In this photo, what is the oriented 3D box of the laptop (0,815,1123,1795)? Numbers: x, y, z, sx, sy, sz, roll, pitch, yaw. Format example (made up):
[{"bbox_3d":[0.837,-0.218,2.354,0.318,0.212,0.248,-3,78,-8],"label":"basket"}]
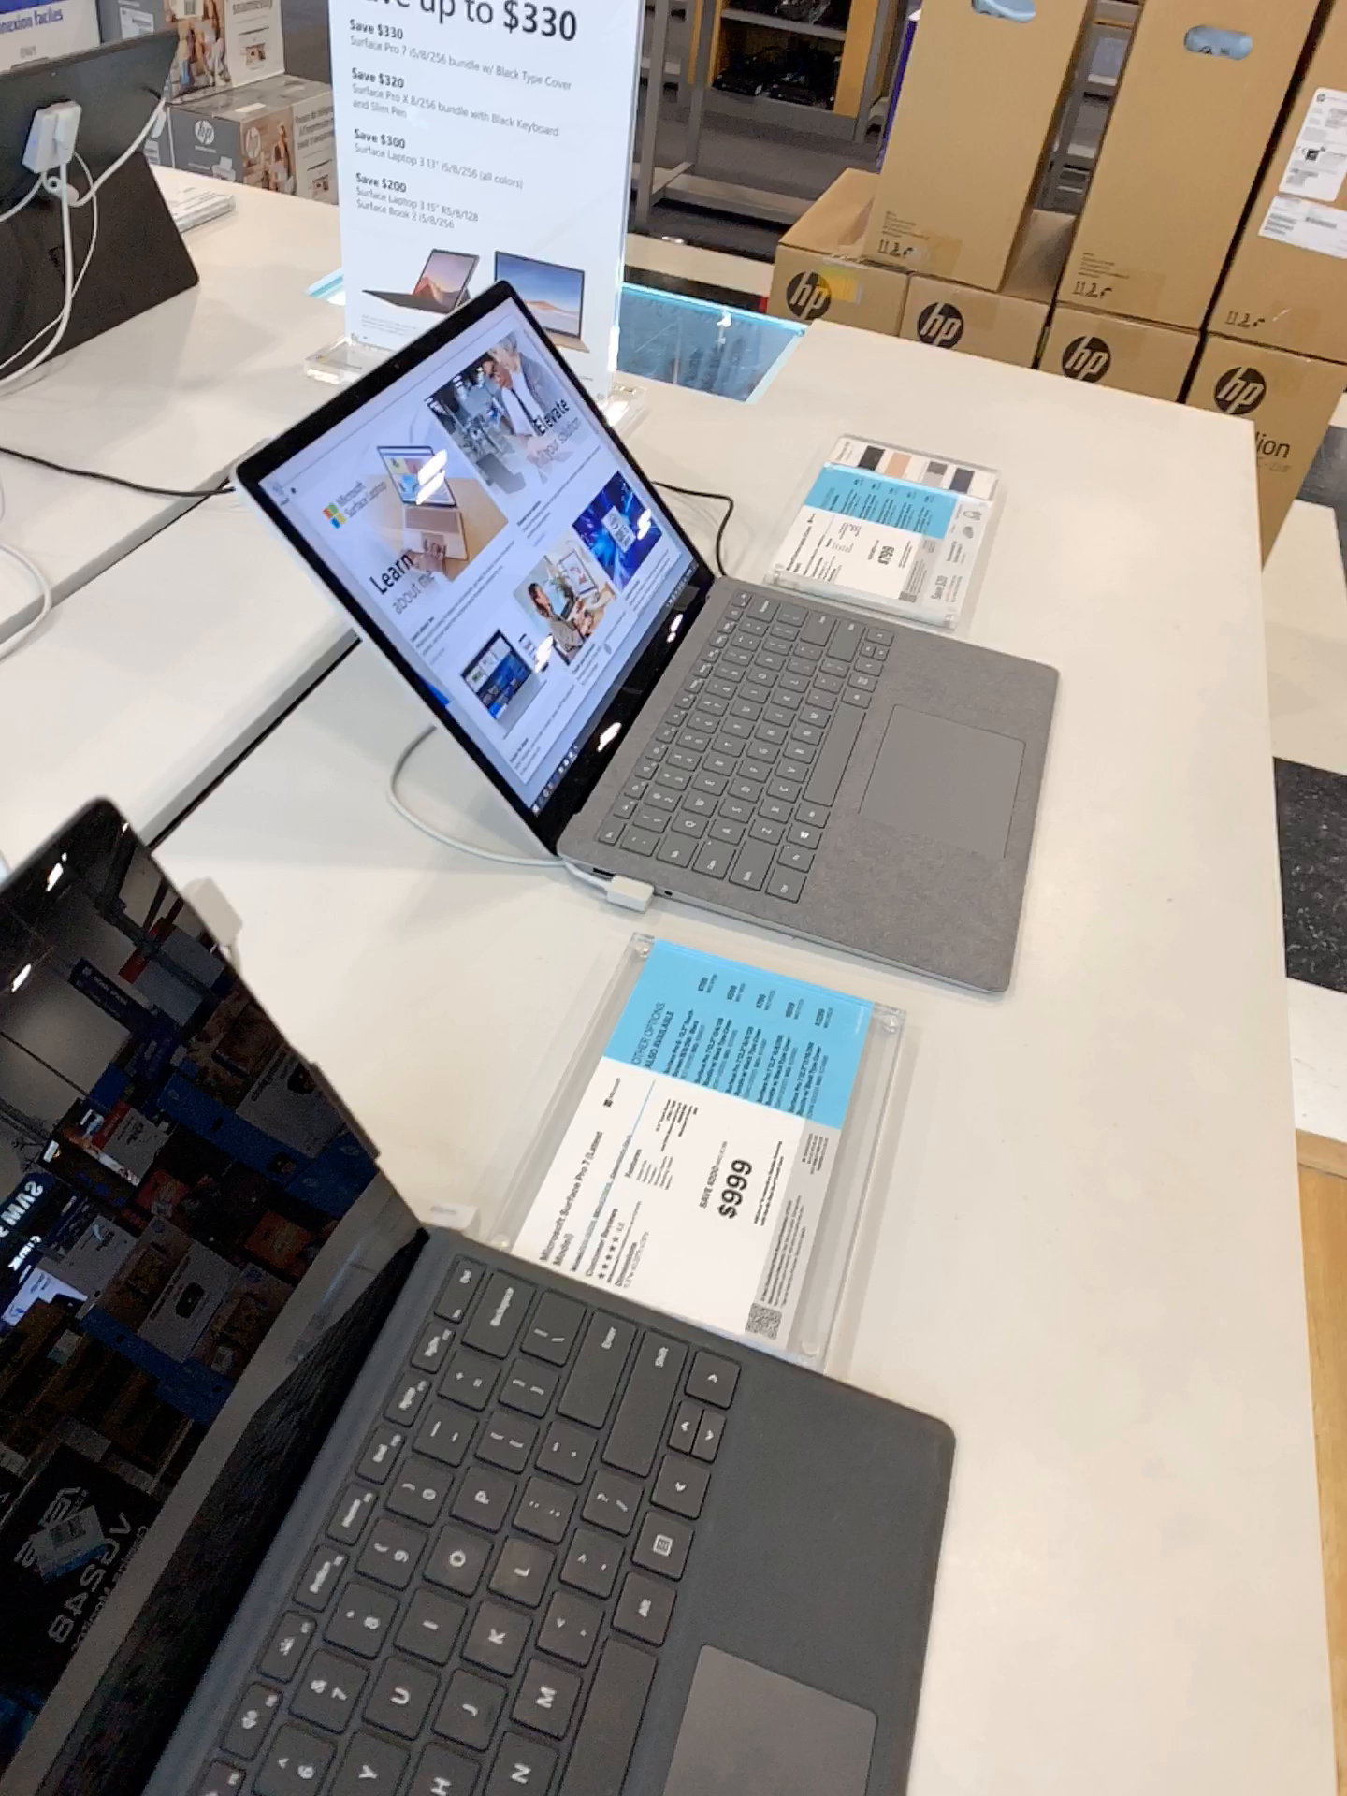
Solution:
[{"bbox_3d":[-0.071,0.161,0.307,0.290,0.158,0.290,15,40,5],"label":"laptop"}]

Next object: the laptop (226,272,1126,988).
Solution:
[{"bbox_3d":[0.022,-0.161,0.712,0.374,0.148,0.297,18,41,7],"label":"laptop"}]
